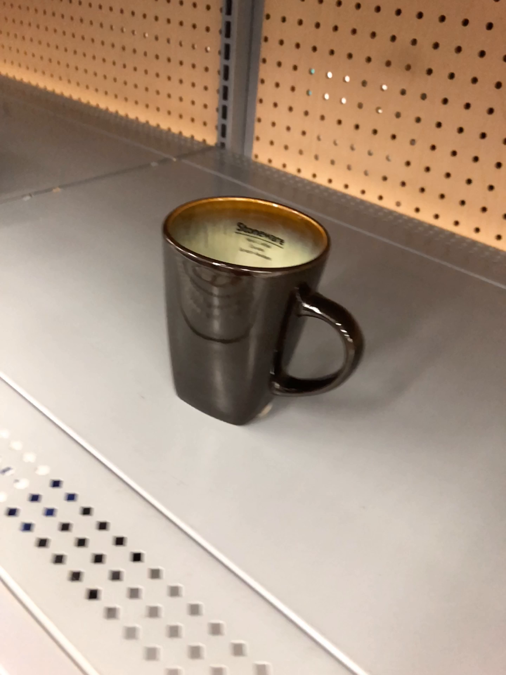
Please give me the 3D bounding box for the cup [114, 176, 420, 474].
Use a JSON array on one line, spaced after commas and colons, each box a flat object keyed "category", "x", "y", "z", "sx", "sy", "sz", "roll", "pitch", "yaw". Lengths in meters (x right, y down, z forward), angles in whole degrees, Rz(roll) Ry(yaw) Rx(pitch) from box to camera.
[{"category": "cup", "x": 0.004, "y": -0.015, "z": 0.328, "sx": 0.136, "sy": 0.099, "sz": 0.095, "roll": 24, "pitch": 38, "yaw": 21}]
